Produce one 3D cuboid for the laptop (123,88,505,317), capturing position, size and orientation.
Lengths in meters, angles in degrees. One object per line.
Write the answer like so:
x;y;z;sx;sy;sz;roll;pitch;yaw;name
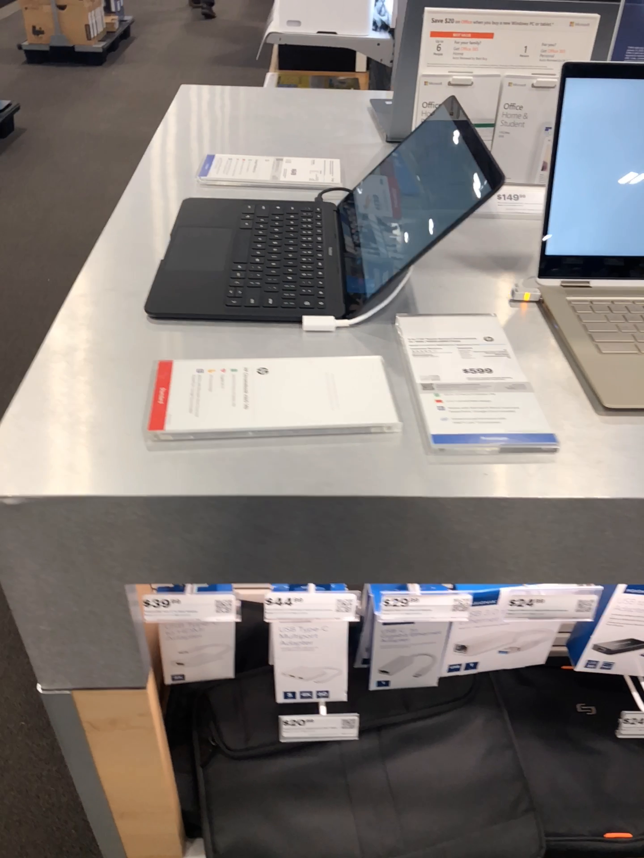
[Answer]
-0.011;-0.259;0.773;0.334;0.134;0.295;1;39;-1;laptop
